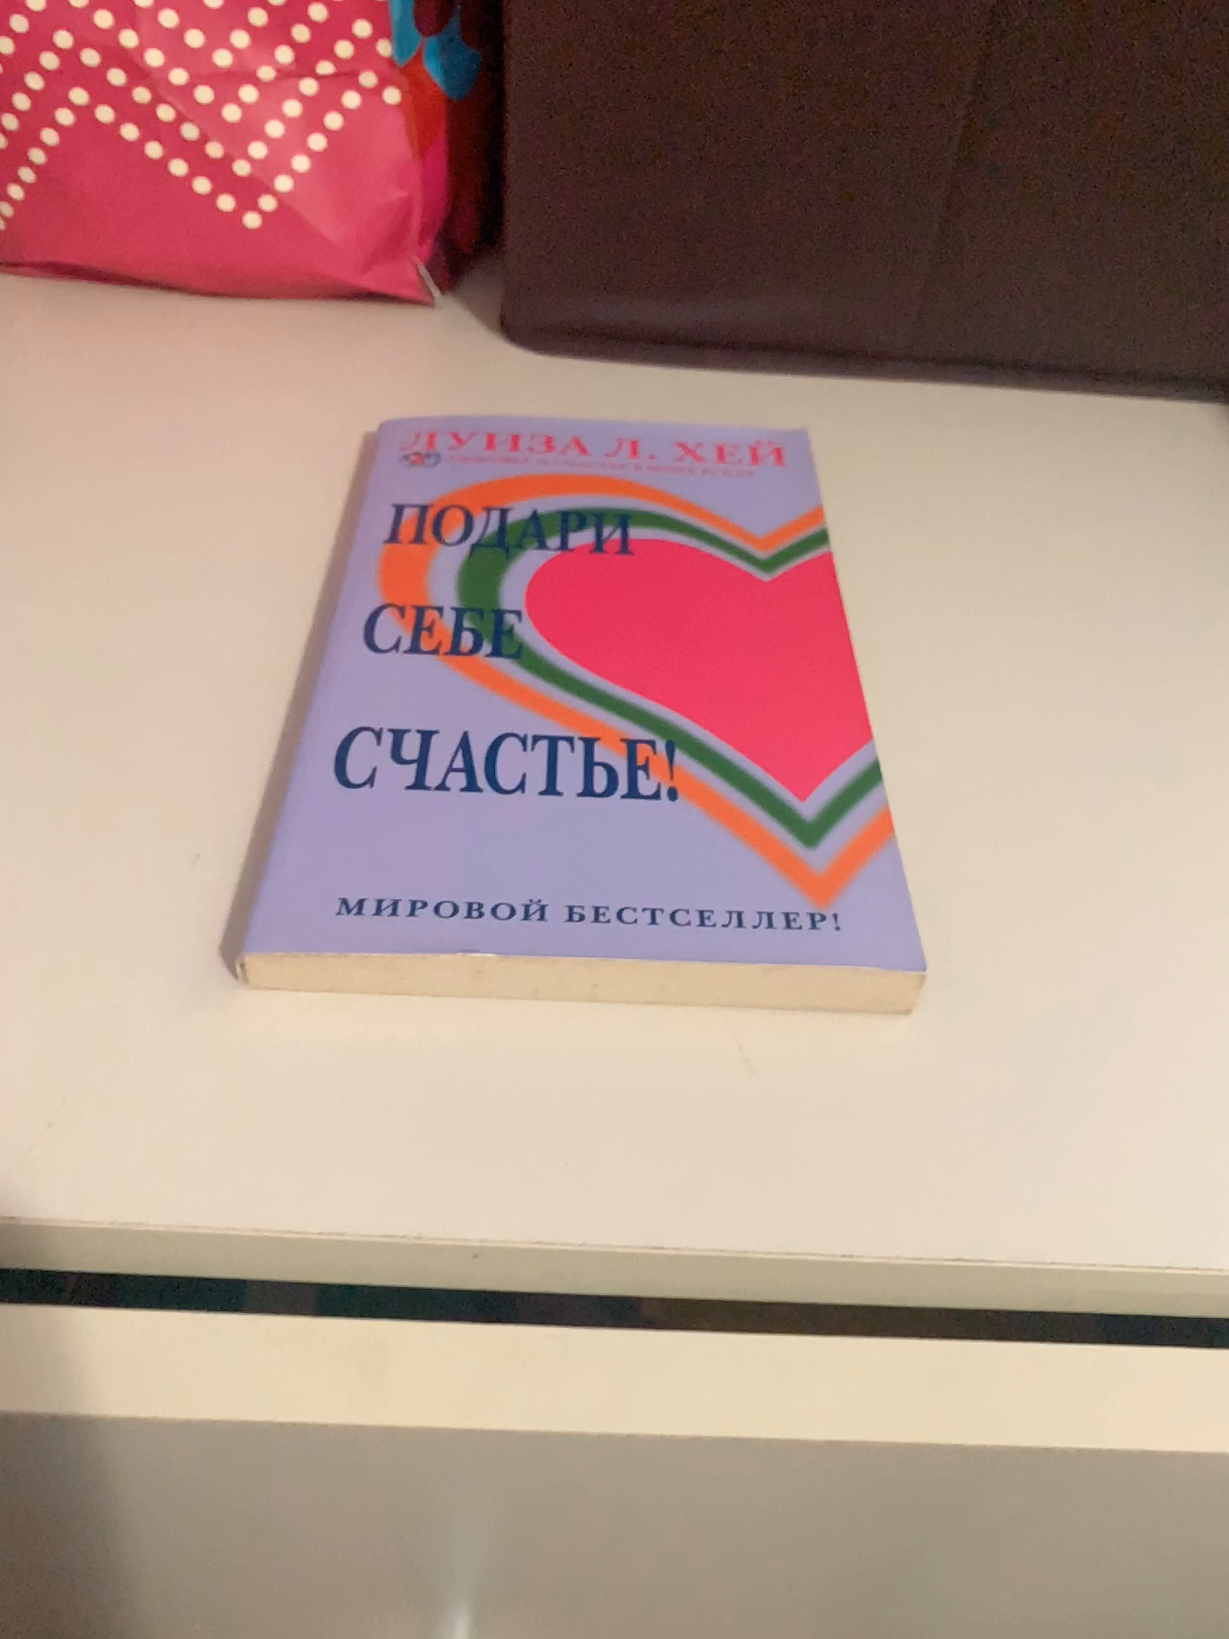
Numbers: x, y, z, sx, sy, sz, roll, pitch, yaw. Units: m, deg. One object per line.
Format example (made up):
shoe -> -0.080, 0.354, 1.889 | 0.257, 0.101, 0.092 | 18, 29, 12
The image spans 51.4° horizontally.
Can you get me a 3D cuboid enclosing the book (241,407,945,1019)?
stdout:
book -> -0.004, -0.039, 0.298 | 0.123, 0.016, 0.195 | 2, 44, -3
